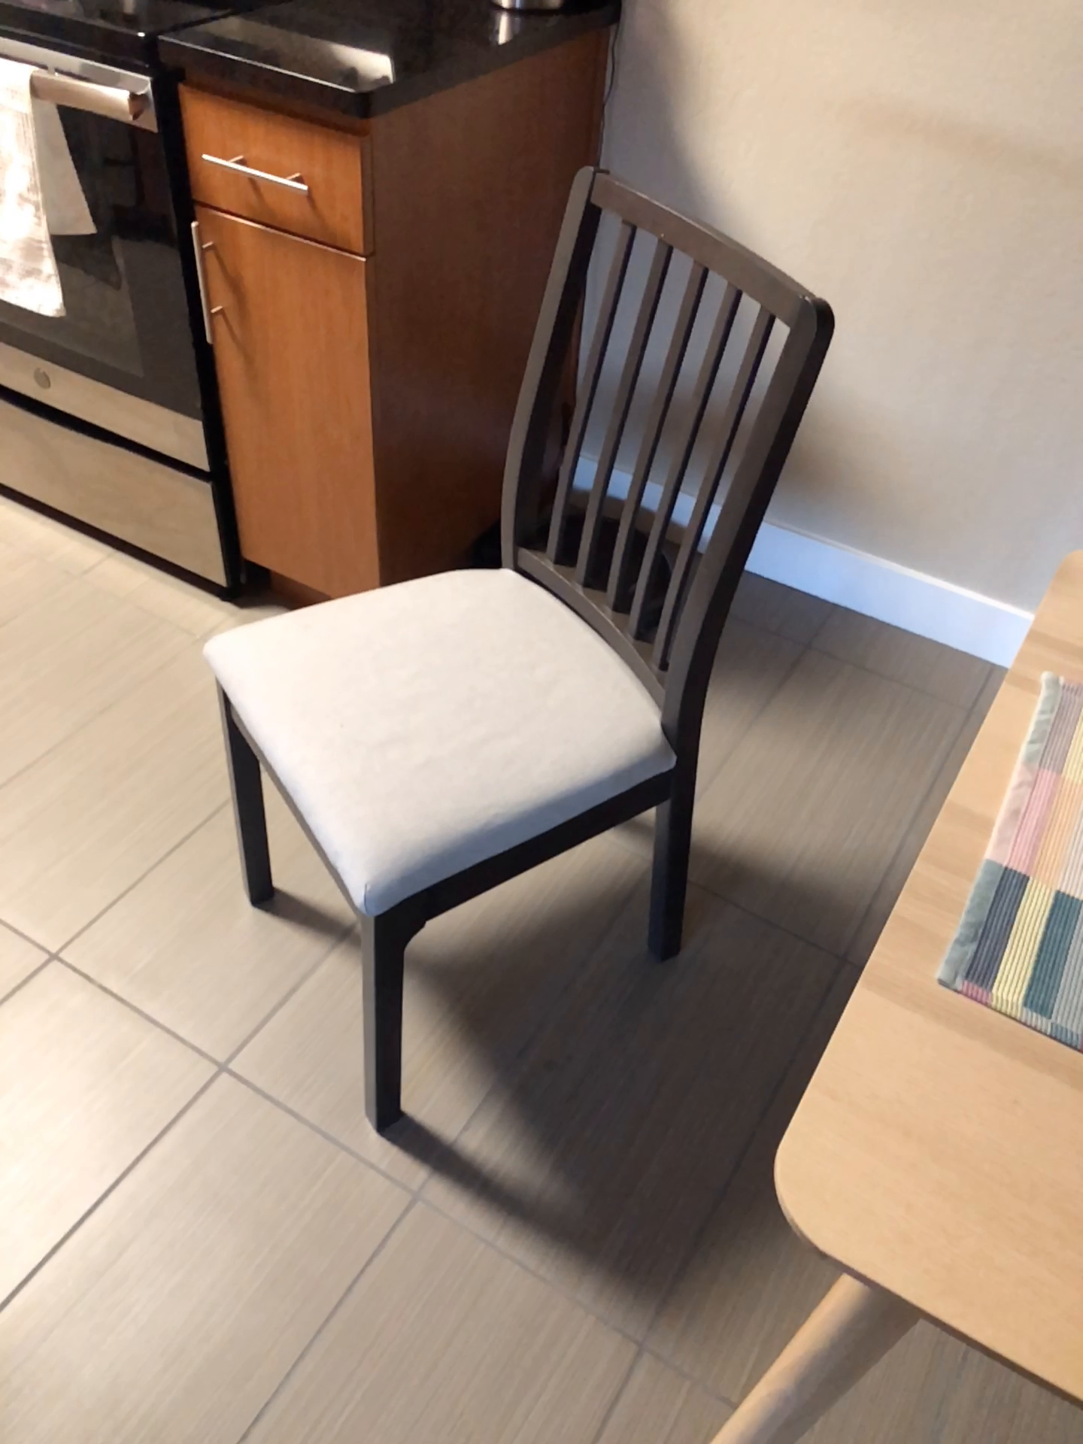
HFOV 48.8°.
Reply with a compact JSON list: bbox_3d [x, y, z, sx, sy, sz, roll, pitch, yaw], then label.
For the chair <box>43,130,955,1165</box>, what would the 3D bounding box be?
[{"bbox_3d":[-0.085,-0.091,1.334,0.591,0.846,0.582,-20,48,-25],"label":"chair"}]
